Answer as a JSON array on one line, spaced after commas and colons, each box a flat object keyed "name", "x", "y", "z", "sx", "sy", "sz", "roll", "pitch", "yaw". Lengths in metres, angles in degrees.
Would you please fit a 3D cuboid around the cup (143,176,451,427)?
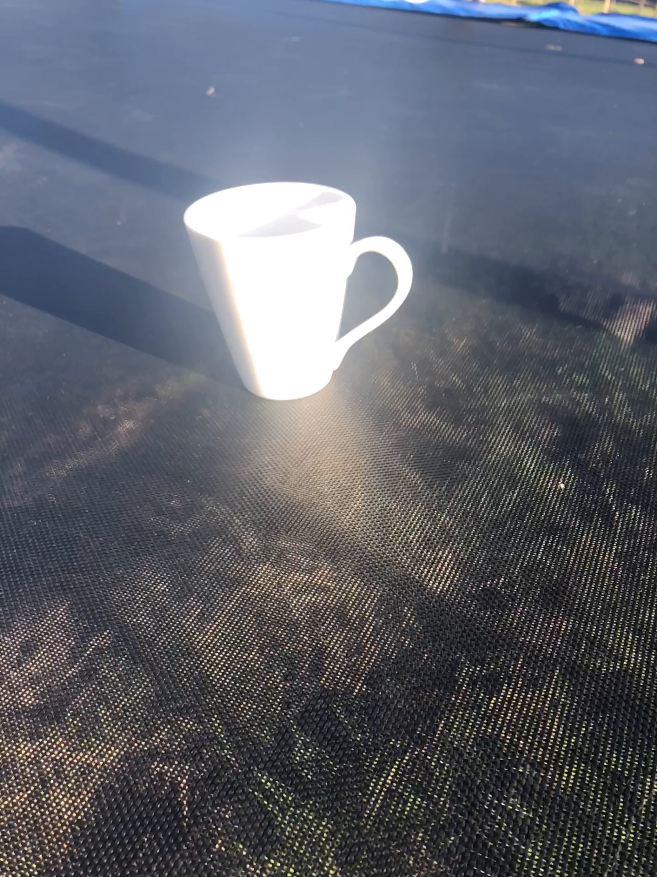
[{"name": "cup", "x": -0.010, "y": -0.081, "z": 0.401, "sx": 0.129, "sy": 0.094, "sz": 0.098, "roll": 11, "pitch": 35, "yaw": 22}]
